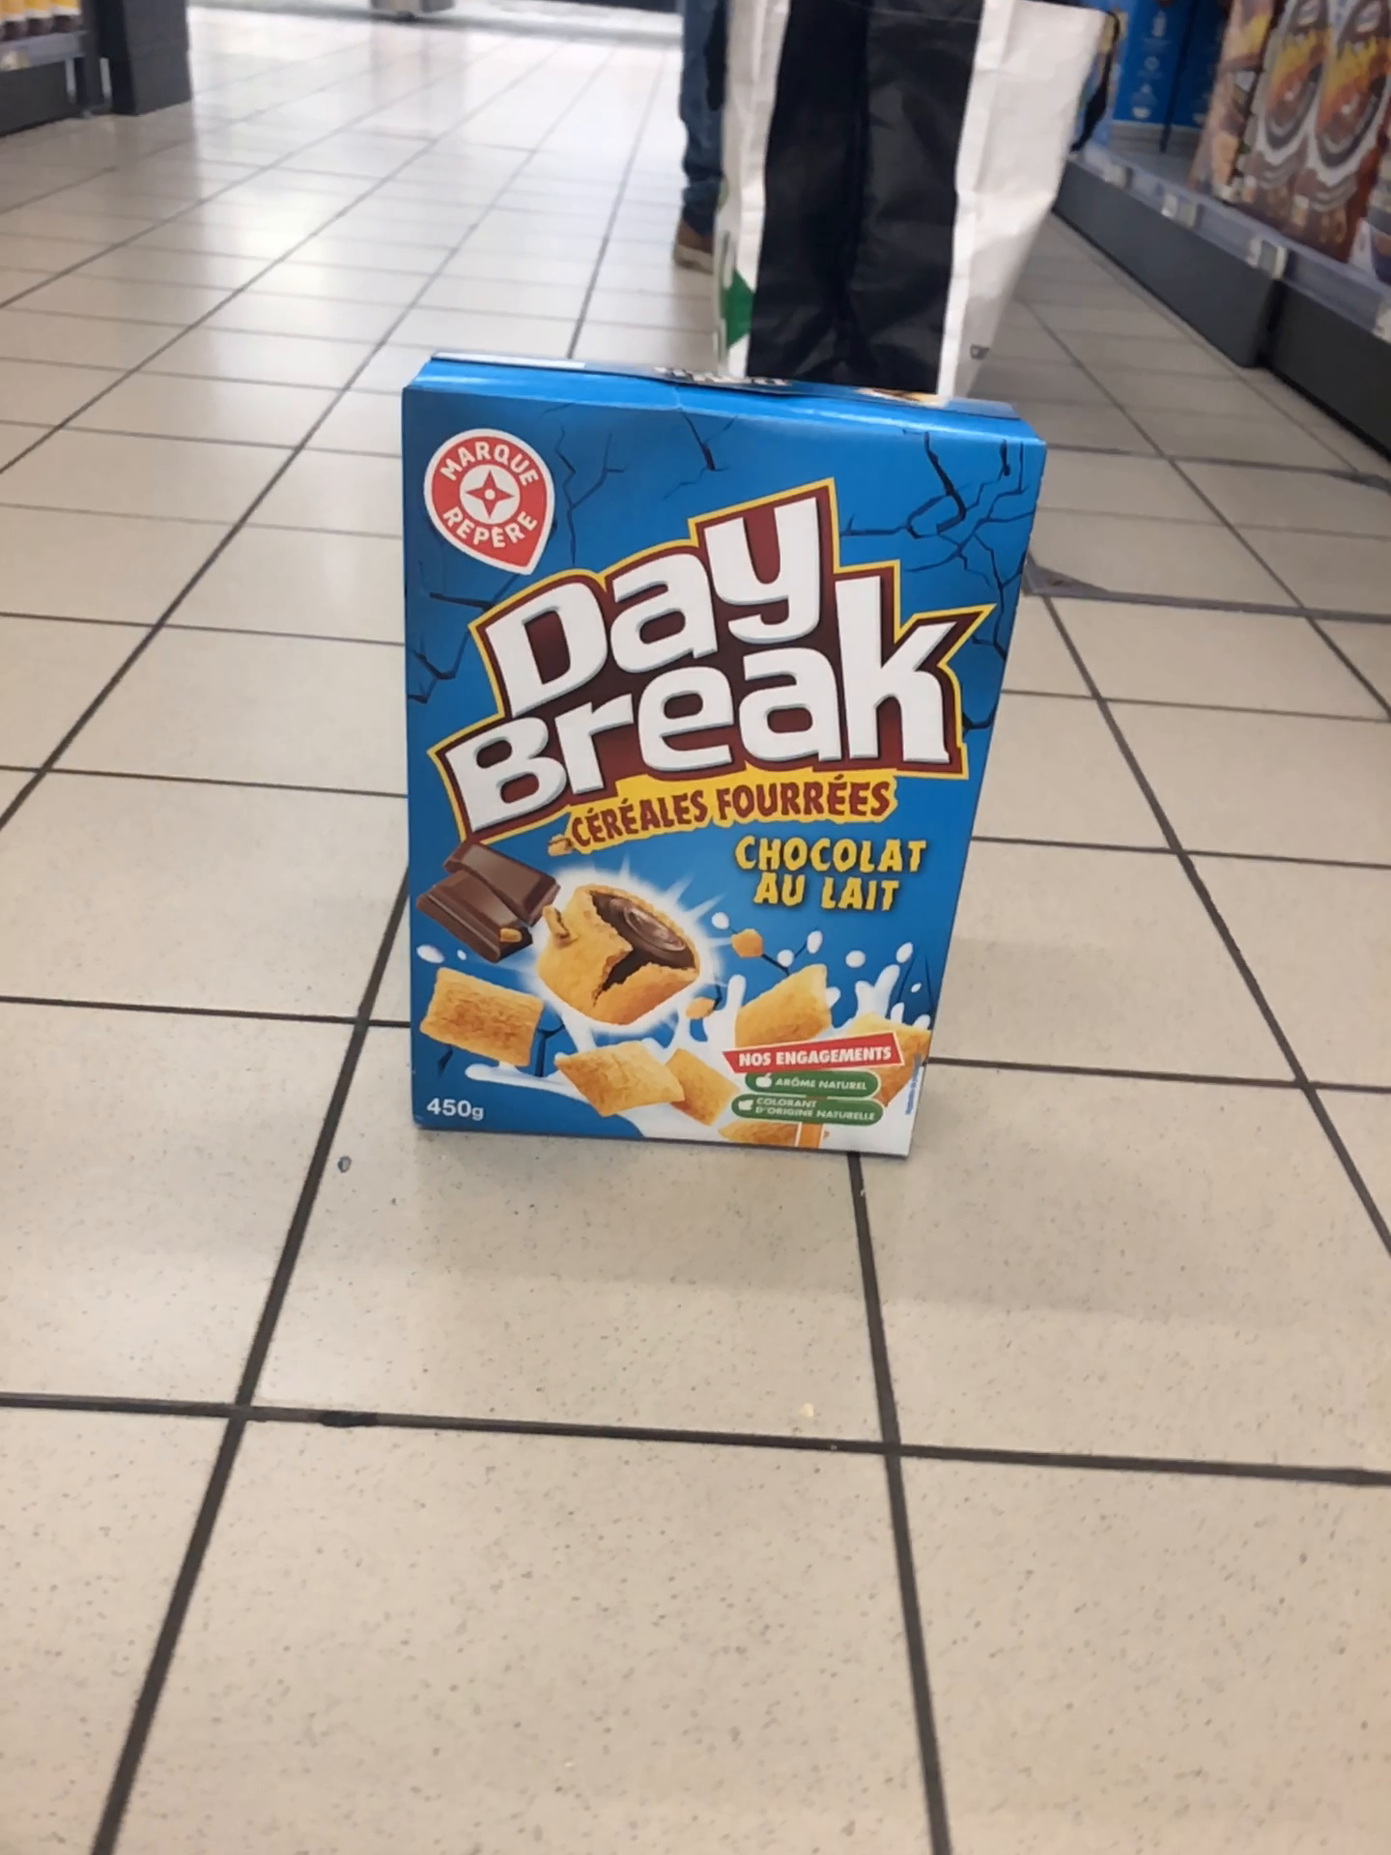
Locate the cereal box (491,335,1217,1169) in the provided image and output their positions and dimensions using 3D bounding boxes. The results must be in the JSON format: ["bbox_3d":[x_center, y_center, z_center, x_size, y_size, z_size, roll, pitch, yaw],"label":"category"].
[{"bbox_3d":[0.037,-0.050,0.517,0.200,0.258,0.070,4,30,-1],"label":"cereal box"}]
